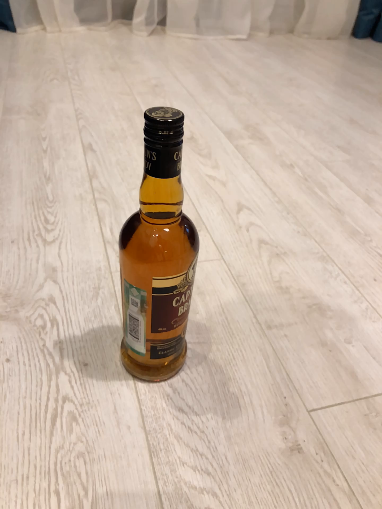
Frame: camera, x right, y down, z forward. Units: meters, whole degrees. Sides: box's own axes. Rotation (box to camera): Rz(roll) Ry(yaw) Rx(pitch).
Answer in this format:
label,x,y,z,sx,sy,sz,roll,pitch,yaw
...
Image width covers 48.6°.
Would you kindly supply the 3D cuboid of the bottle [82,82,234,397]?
label,x,y,z,sx,sy,sz,roll,pitch,yaw
bottle,-0.029,0.002,0.365,0.080,0.257,0.081,4,37,-3
